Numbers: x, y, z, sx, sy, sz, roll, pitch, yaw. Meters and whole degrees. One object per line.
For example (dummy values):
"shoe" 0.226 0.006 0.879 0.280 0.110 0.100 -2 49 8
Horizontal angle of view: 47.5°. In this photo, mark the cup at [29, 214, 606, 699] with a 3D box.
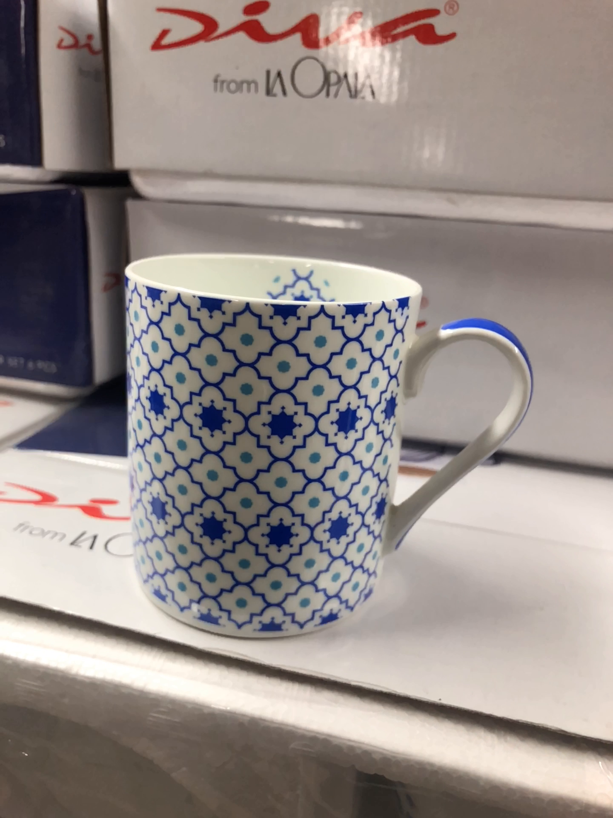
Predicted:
"cup" 0.003 0.002 0.164 0.100 0.080 0.070 7 21 10
